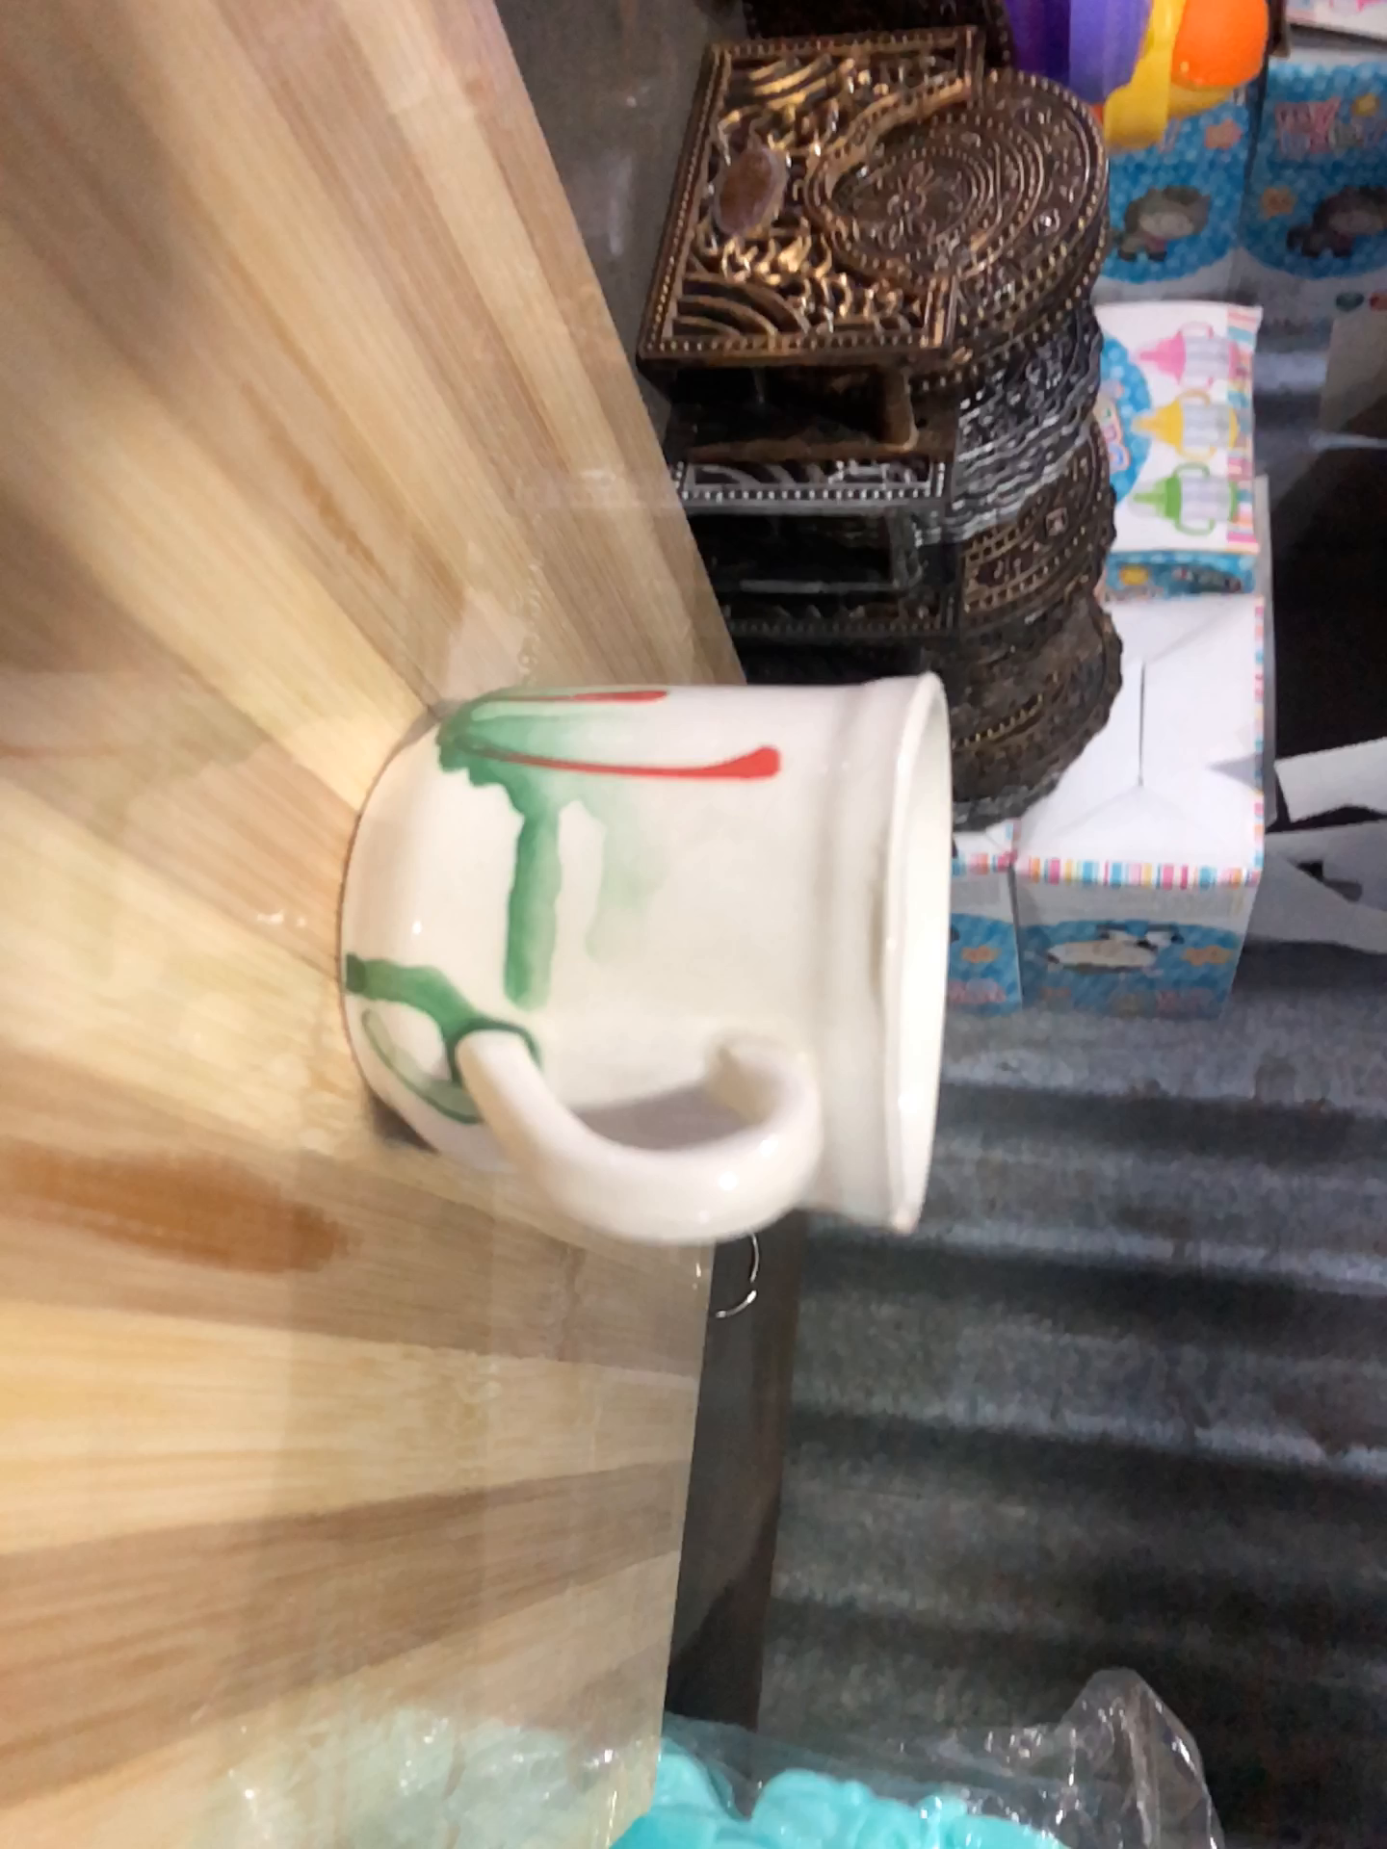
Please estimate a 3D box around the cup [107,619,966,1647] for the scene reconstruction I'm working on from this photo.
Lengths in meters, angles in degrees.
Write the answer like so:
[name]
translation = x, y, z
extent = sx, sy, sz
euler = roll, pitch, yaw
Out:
[cup]
translation = -0.006, 0.019, 0.190
extent = 0.090, 0.070, 0.080
euler = -71, 161, -53
